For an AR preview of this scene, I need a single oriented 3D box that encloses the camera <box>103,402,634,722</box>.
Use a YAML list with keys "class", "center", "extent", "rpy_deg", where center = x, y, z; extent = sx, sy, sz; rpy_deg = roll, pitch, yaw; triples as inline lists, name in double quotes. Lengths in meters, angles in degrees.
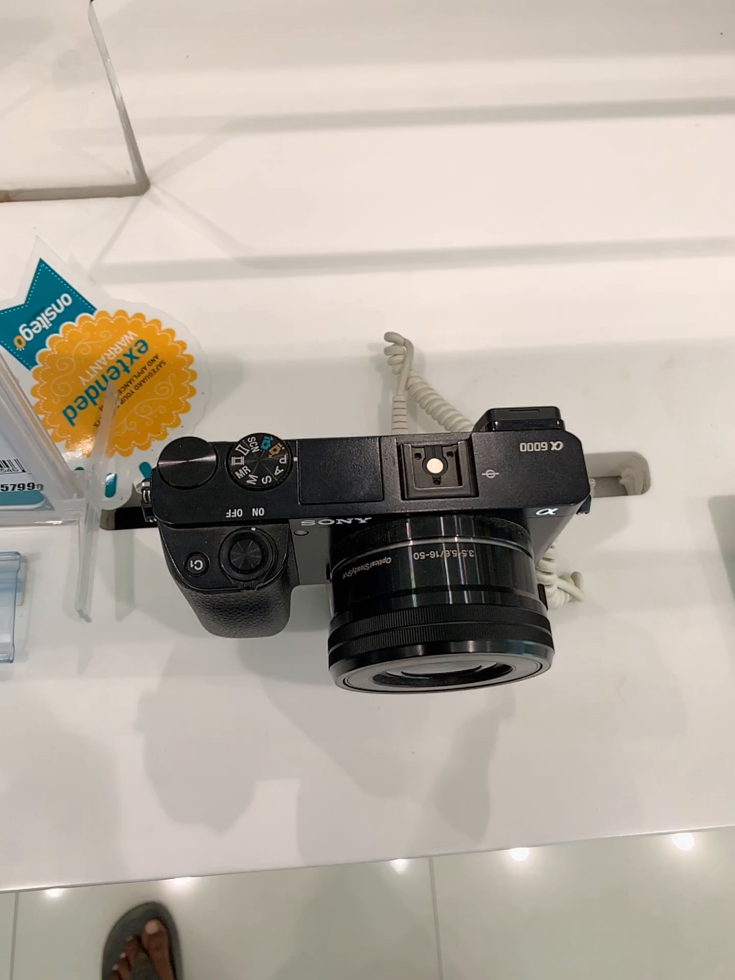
- class: "camera"
  center: [-0.002, 0.021, 0.188]
  extent: [0.104, 0.063, 0.058]
  rpy_deg: [-3, 69, -3]
